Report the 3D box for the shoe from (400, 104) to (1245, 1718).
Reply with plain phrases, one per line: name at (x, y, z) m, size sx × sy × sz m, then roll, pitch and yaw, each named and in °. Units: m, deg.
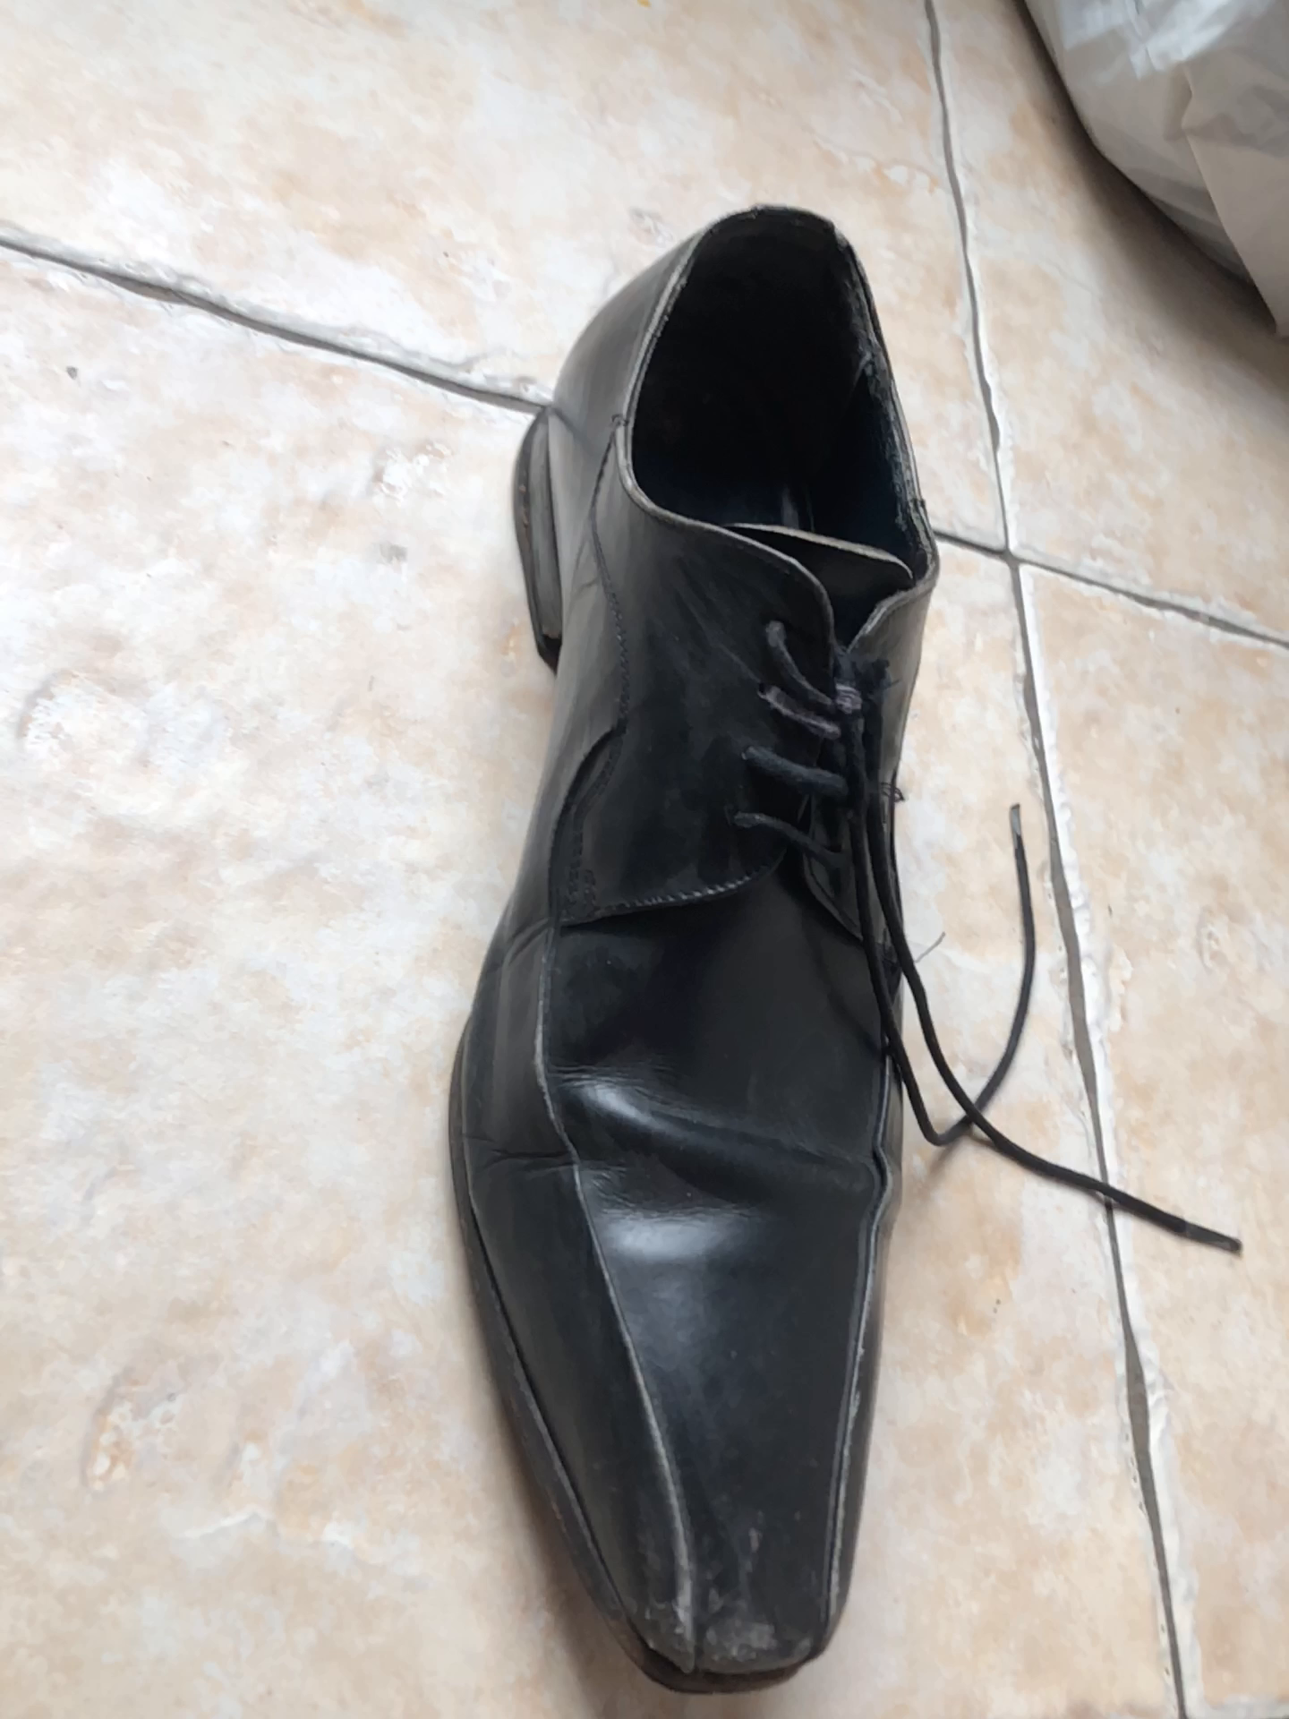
shoe at (0.027, 0.000, 0.287) m, size 0.100 × 0.090 × 0.291 m, roll 13°, pitch 62°, yaw -20°
